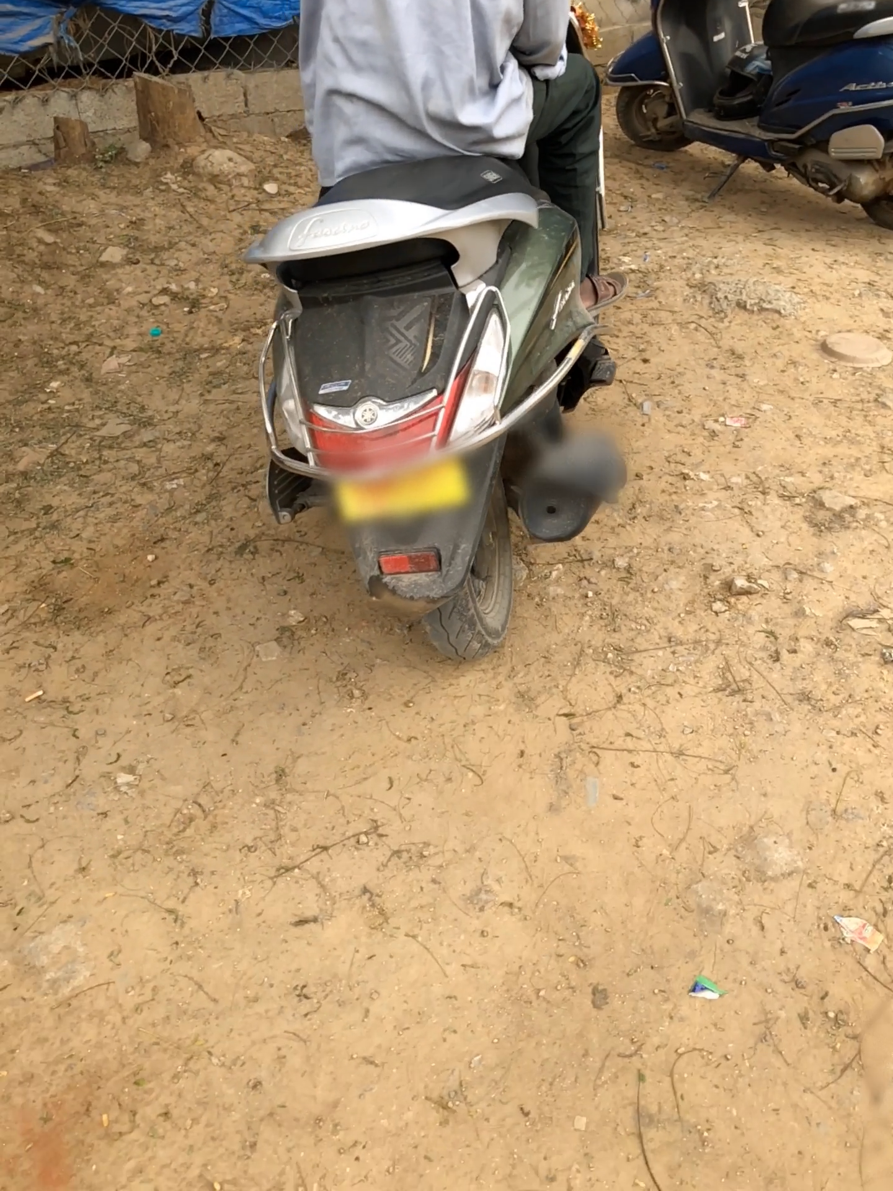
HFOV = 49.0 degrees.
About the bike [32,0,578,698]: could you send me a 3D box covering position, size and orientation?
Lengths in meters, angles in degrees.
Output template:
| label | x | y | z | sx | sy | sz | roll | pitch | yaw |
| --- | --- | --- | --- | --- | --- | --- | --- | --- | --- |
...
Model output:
| label | x | y | z | sx | sy | sz | roll | pitch | yaw |
| --- | --- | --- | --- | --- | --- | --- | --- | --- | --- |
| bike | -0.080 | -0.861 | 2.055 | 0.622 | 1.054 | 1.733 | 3 | 39 | 7 |
